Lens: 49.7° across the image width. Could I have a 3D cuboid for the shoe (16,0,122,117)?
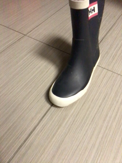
[{"bbox_3d":[0.052,-0.091,0.345,0.102,0.217,0.280,23,57,22],"label":"shoe"}]
